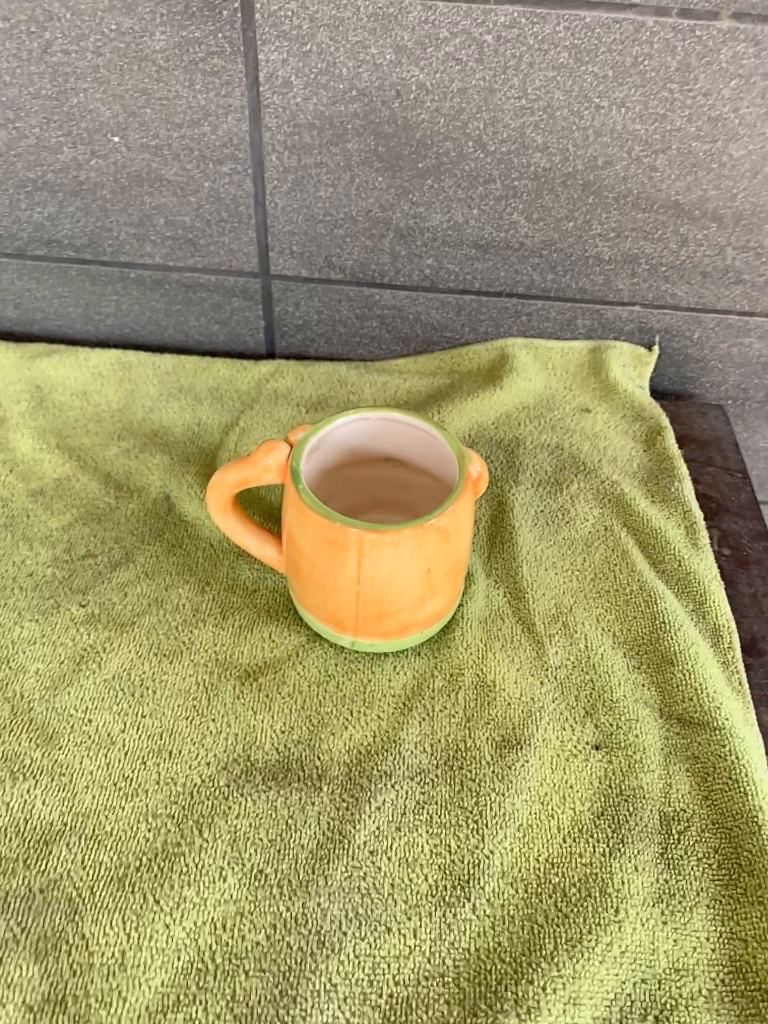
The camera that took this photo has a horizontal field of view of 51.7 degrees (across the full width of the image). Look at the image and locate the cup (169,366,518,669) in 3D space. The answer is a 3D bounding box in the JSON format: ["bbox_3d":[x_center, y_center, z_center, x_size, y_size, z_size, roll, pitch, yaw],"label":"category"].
[{"bbox_3d":[-0.015,0.004,0.358,0.130,0.100,0.080,5,46,0],"label":"cup"}]
